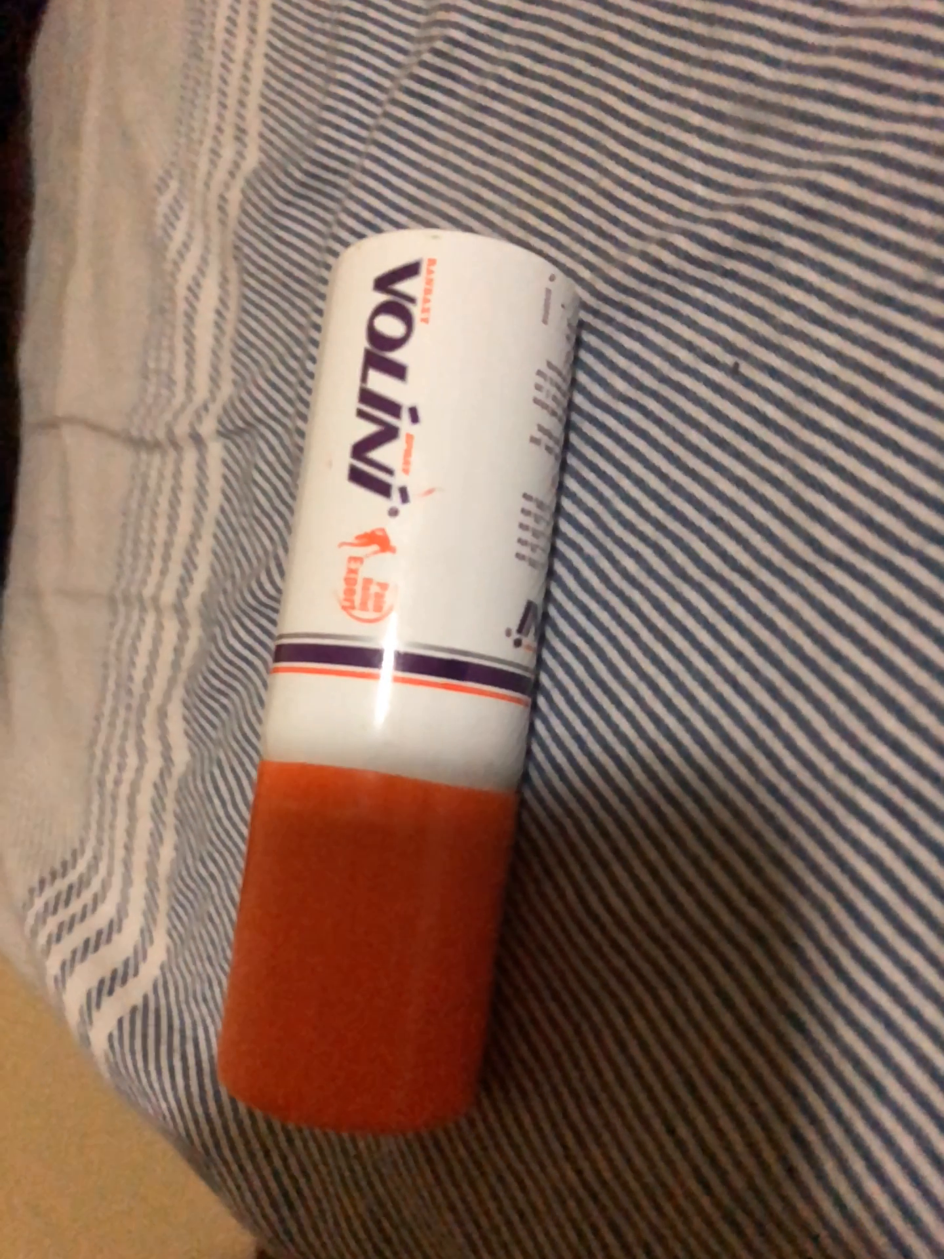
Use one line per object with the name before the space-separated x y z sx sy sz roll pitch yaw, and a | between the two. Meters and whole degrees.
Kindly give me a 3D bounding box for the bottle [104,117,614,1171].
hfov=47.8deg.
bottle | -0.010 -0.001 0.144 0.040 0.040 0.120 5 81 18
